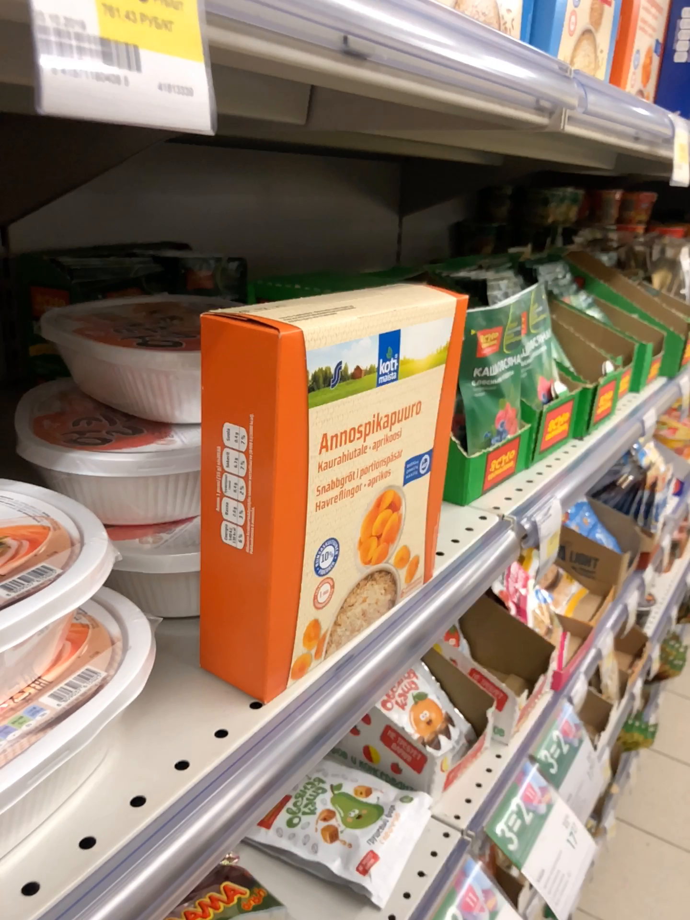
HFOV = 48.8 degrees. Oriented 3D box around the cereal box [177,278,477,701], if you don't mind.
[{"bbox_3d":[-0.004,0.002,0.414,0.060,0.179,0.171,16,24,33],"label":"cereal box"}]
